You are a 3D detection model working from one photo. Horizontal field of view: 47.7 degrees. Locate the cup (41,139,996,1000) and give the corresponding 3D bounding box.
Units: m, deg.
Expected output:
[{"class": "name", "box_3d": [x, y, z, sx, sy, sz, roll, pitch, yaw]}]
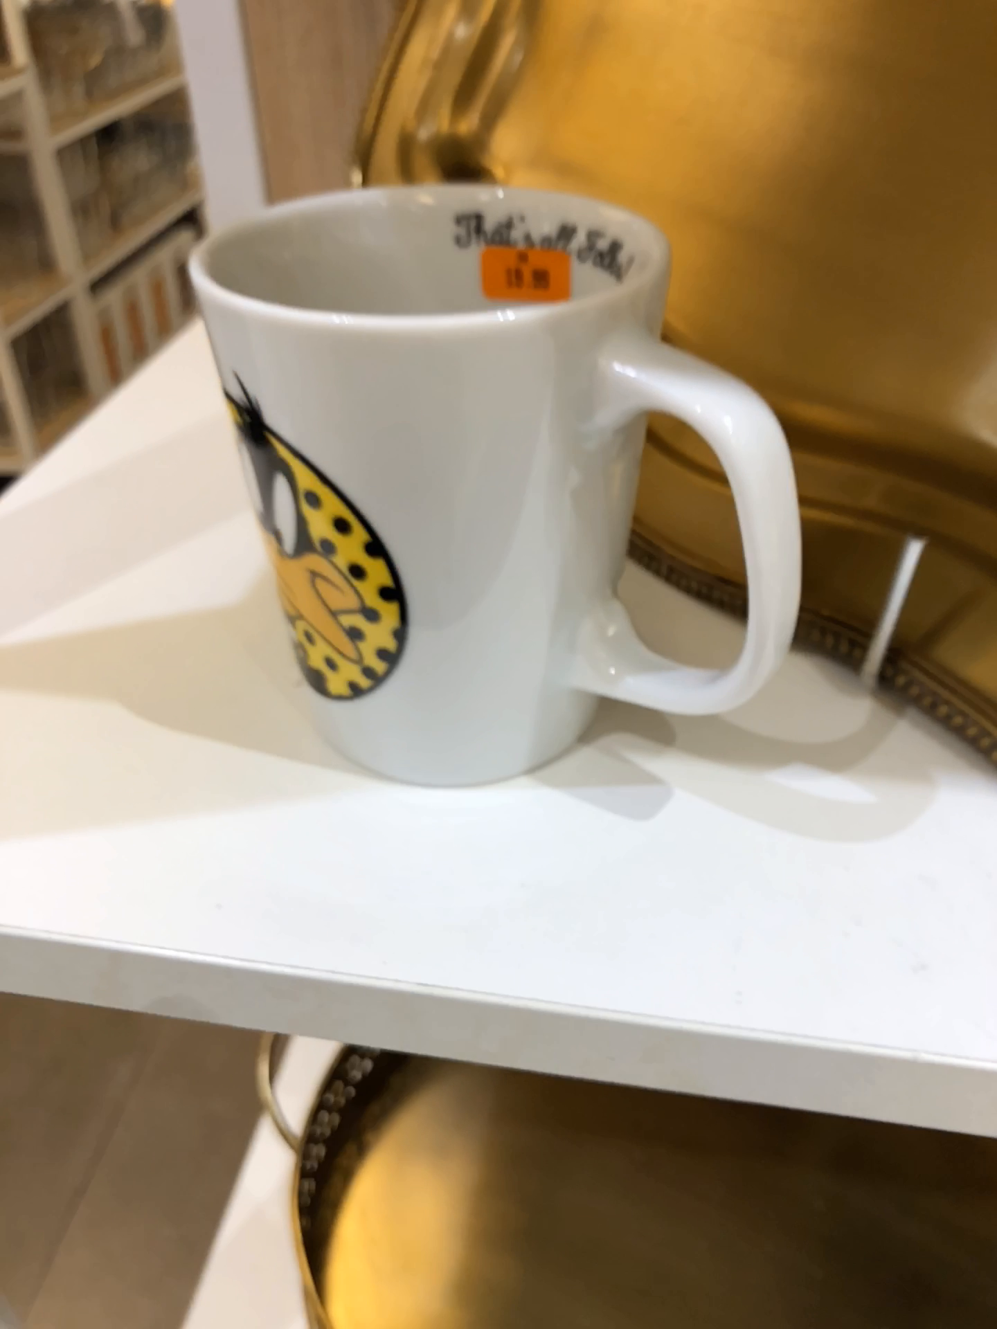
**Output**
[{"class": "cup", "box_3d": [0.004, -0.029, 0.201, 0.120, 0.089, 0.090, 25, 44, 31]}]
